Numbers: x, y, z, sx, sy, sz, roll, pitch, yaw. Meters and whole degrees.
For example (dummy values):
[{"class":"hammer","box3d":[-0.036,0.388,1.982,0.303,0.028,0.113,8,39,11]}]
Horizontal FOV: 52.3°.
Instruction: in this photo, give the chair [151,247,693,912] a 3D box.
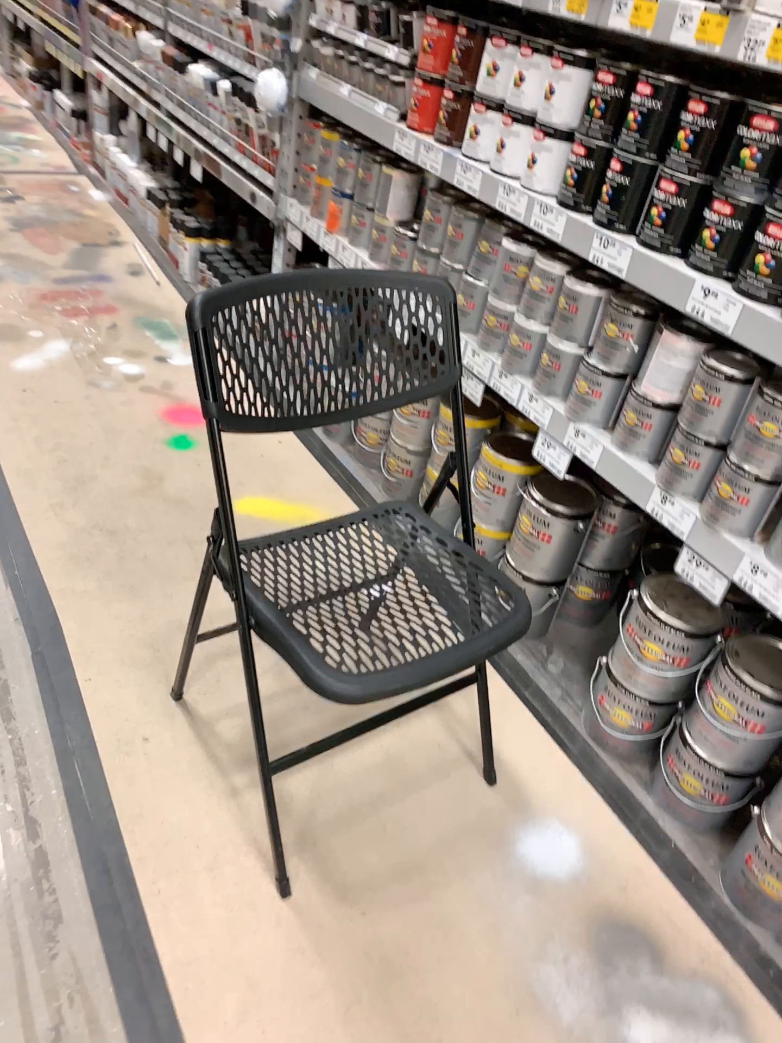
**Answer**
[{"class":"chair","box3d":[-0.029,0.067,1.279,0.519,0.814,0.517,-15,43,-32]}]
